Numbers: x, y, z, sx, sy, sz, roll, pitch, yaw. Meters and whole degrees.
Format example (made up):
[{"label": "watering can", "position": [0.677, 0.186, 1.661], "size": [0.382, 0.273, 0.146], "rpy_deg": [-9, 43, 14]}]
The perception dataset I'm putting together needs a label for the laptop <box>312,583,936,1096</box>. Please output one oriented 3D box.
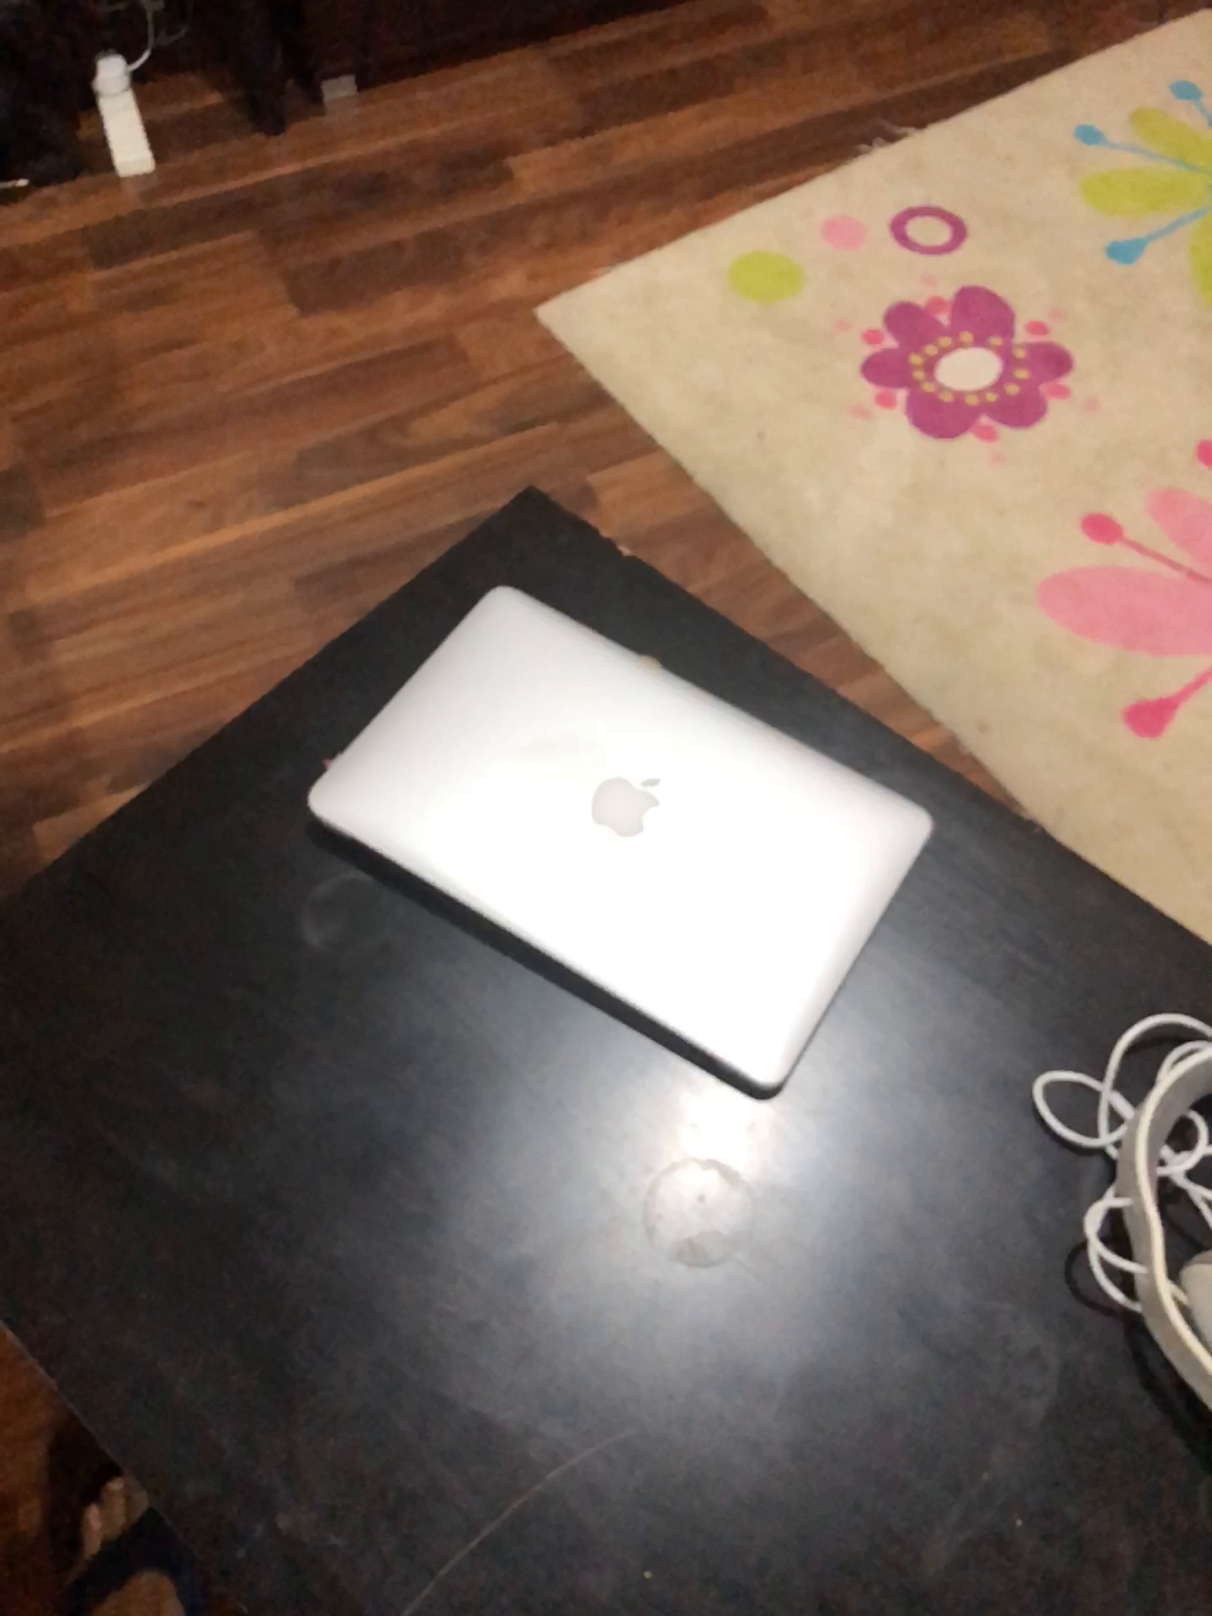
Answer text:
[{"label": "laptop", "position": [0.011, 0.006, 0.776], "size": [0.300, 0.011, 0.190], "rpy_deg": [30, 67, 12]}]
